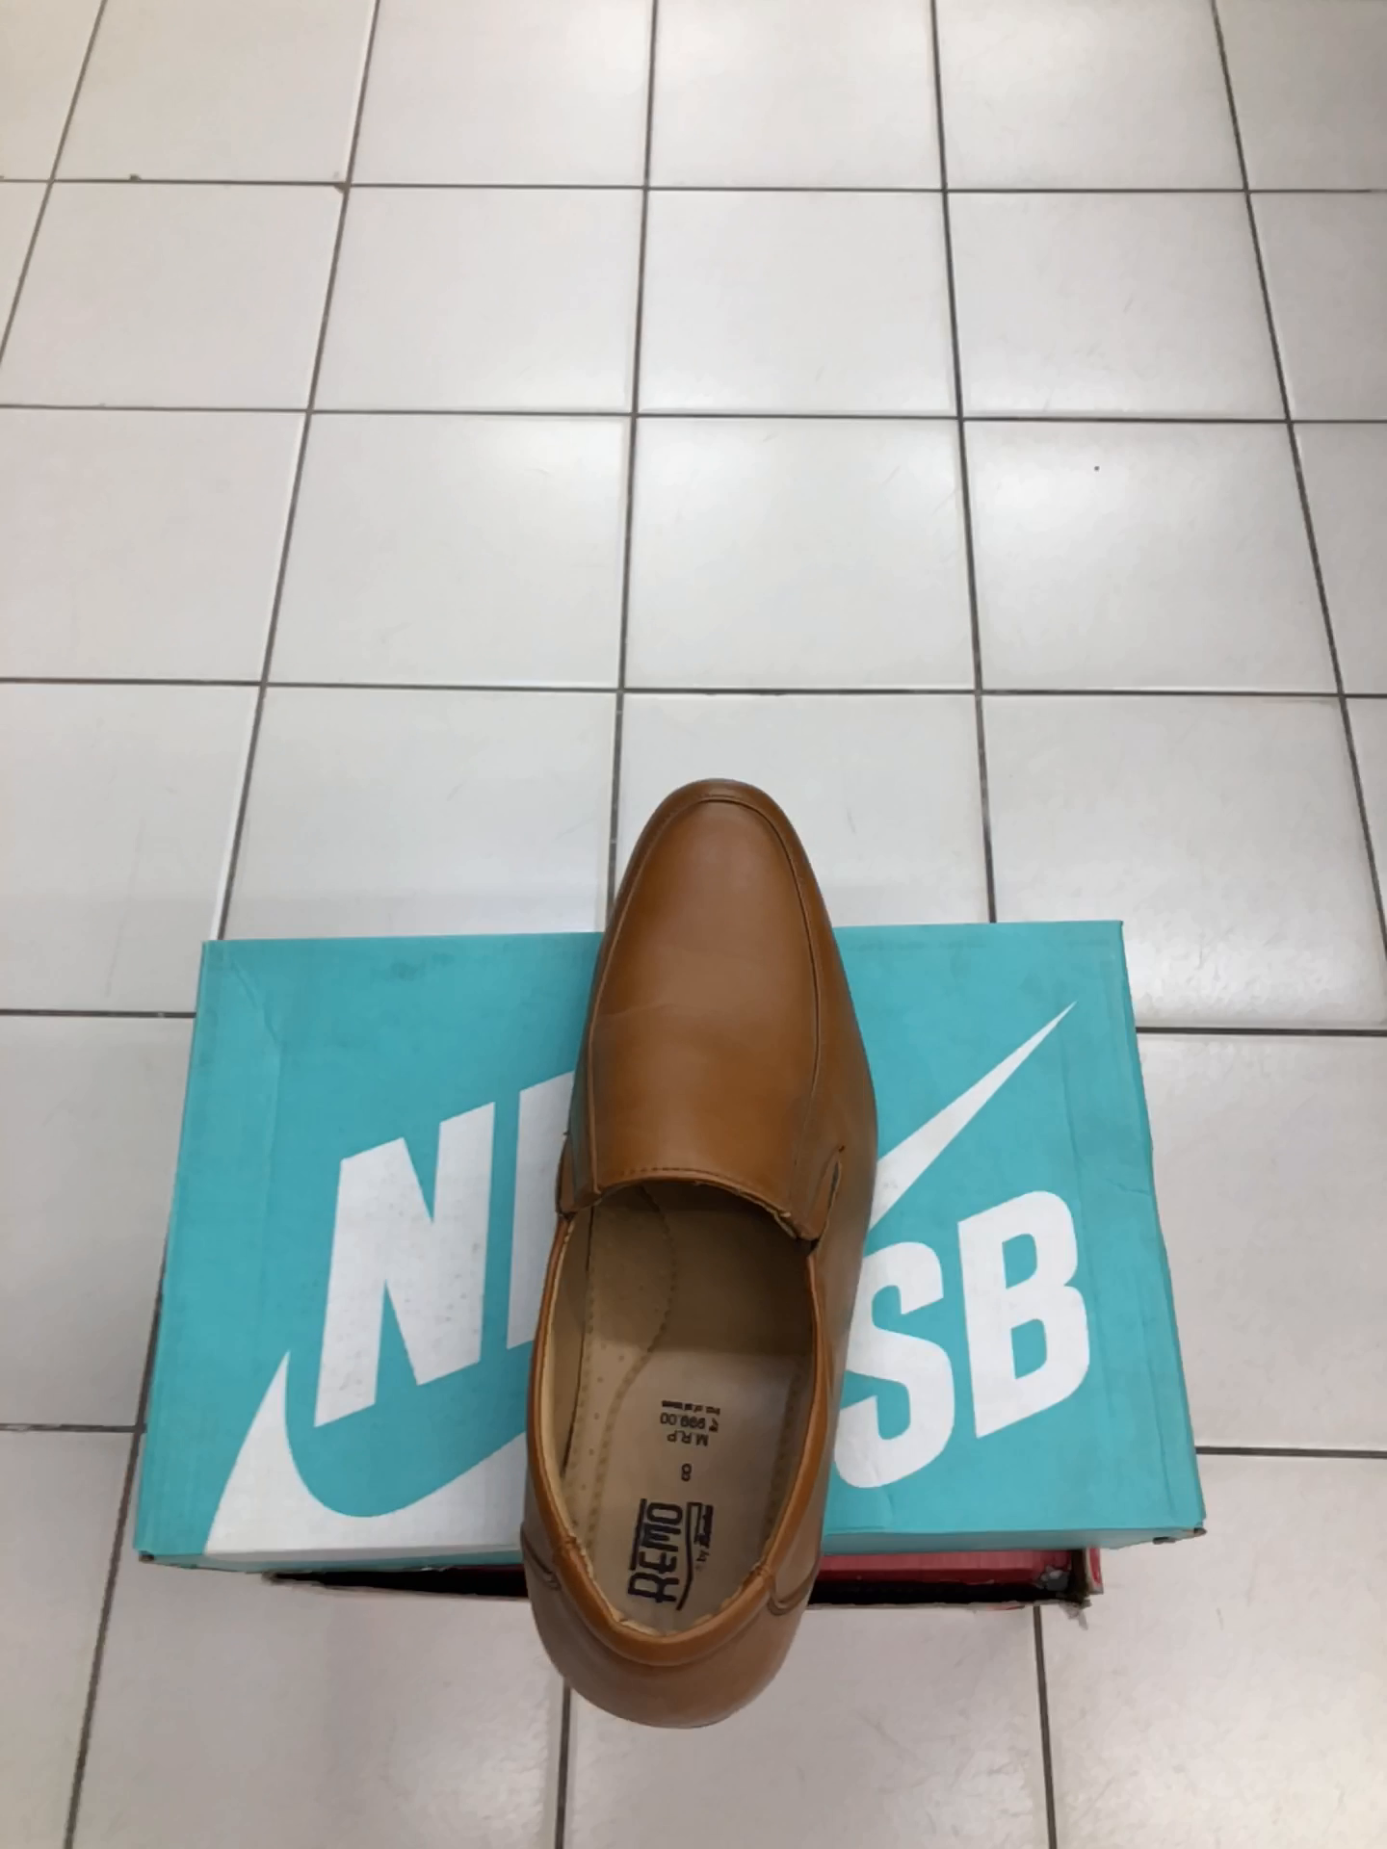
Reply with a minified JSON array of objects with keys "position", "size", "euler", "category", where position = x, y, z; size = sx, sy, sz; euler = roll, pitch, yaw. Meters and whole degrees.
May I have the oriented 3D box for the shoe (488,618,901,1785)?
[{"position":[0.010,0.069,0.451],"size":[0.090,0.100,0.311],"euler":[3,65,2],"category":"shoe"}]
